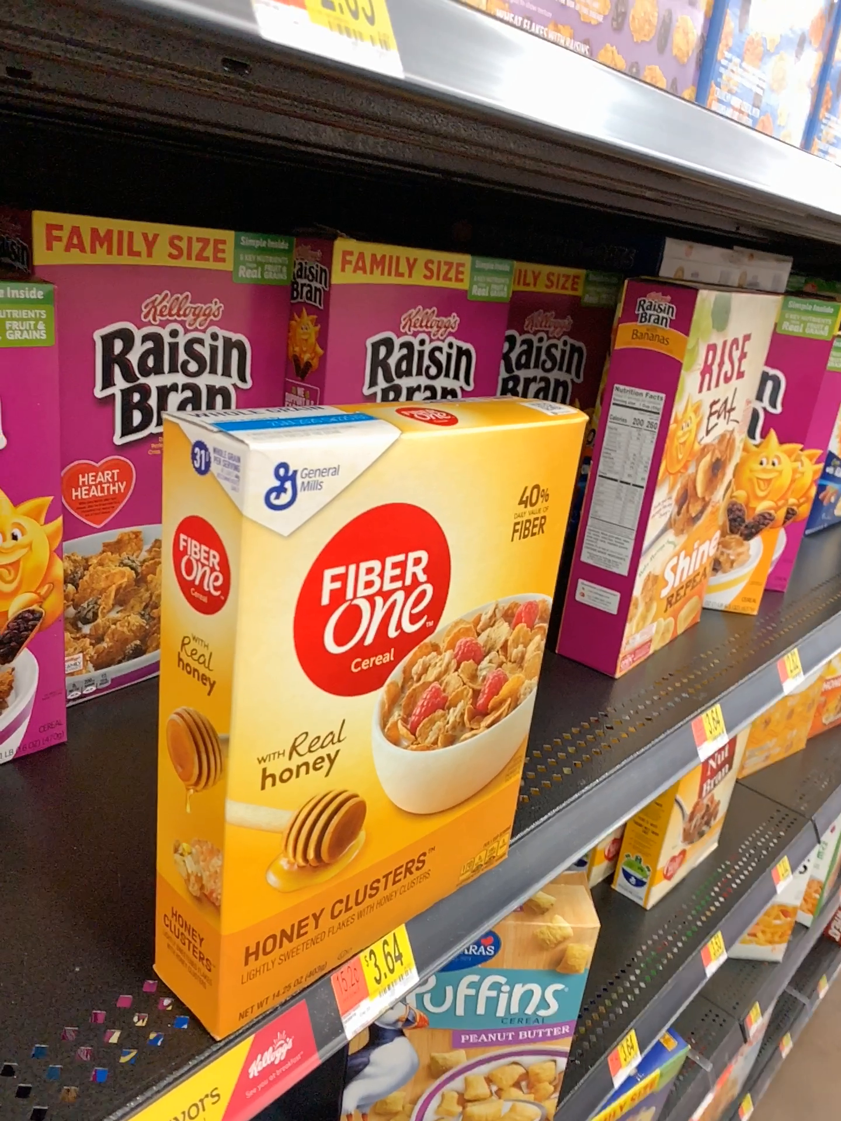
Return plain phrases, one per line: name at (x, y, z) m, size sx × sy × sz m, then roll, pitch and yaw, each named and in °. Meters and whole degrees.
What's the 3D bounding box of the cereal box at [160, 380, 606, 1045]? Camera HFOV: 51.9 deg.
cereal box at (-0.015, 0.055, 0.399) m, size 0.200 × 0.259 × 0.050 m, roll -14°, pitch 28°, yaw -44°
